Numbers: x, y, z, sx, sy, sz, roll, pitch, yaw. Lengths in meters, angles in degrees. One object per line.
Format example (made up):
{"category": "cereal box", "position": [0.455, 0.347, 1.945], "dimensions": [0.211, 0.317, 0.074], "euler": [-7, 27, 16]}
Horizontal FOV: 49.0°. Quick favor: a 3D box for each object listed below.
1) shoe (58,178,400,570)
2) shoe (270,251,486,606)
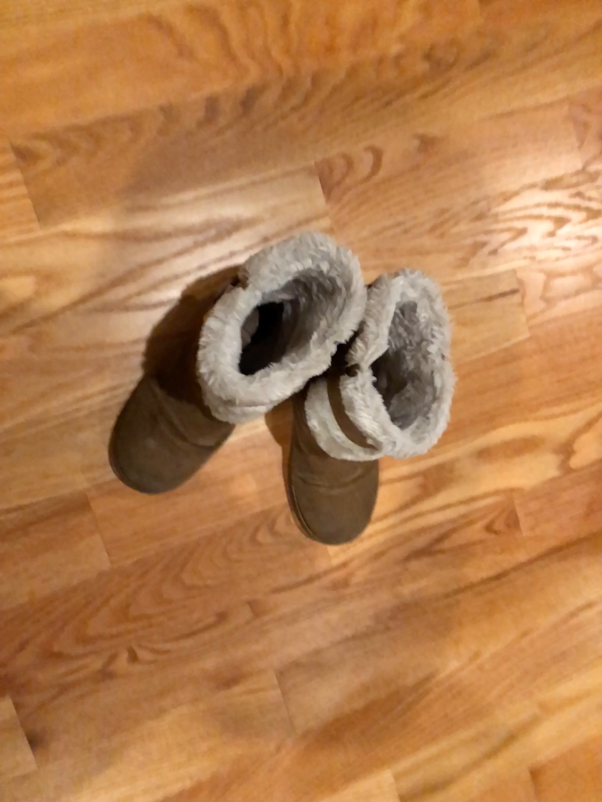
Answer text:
{"category": "shoe", "position": [-0.067, -0.025, 0.546], "dimensions": [0.106, 0.194, 0.254], "euler": [37, 85, -14]}
{"category": "shoe", "position": [0.057, 0.013, 0.583], "dimensions": [0.113, 0.194, 0.254], "euler": [-5, 96, -14]}
